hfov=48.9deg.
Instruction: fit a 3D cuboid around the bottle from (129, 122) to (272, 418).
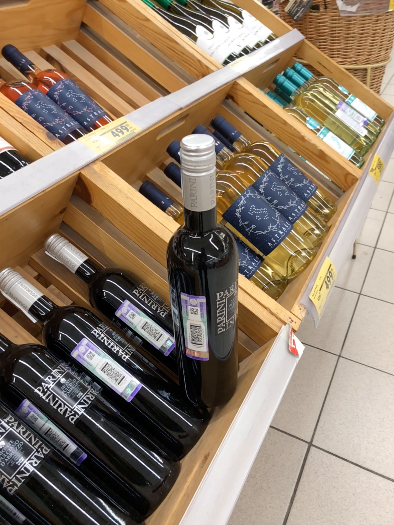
[{"bbox_3d":[0.012,0.017,0.435,0.080,0.278,0.090,21,41,32],"label":"bottle"}]
